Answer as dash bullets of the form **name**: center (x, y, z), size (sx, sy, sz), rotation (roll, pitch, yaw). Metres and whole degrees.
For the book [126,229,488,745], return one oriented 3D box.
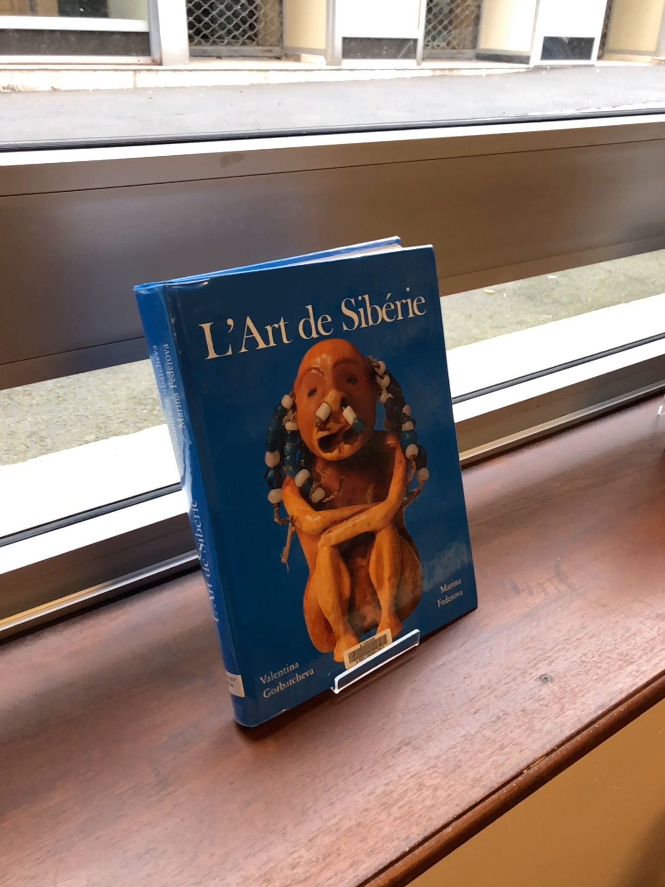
- **book**: center (0.001, 0.023, 0.591), size (0.255, 0.349, 0.044), rotation (-18, 16, -31)
